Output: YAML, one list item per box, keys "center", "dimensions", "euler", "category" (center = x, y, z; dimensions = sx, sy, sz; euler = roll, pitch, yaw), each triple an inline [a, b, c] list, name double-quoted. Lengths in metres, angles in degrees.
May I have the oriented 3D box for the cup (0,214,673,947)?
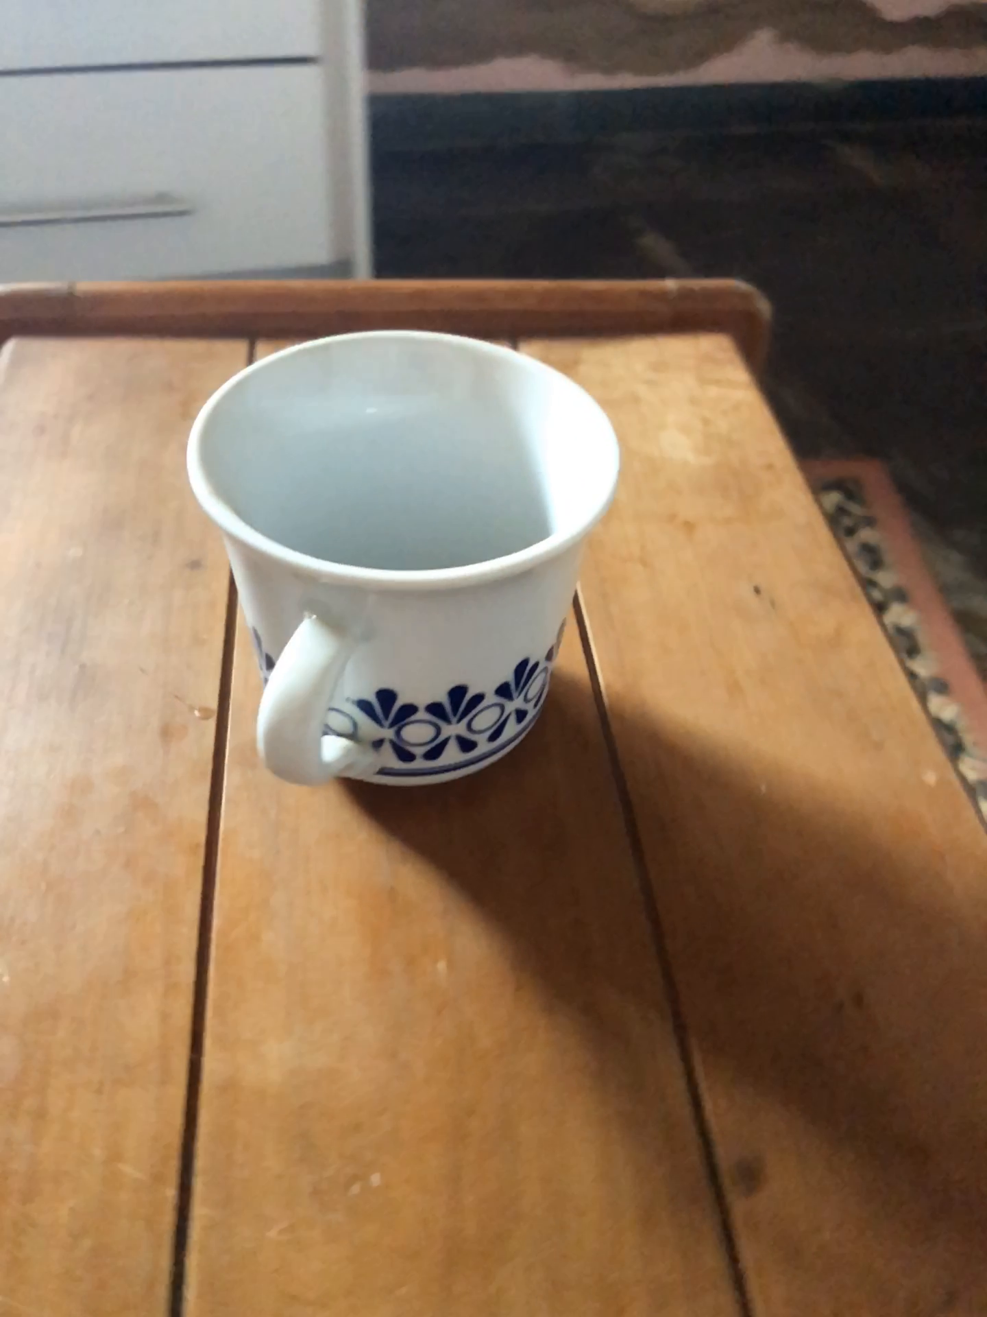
- center: [-0.027, -0.026, 0.245]
  dimensions: [0.100, 0.079, 0.131]
  euler: [14, 45, 9]
  category: "cup"
